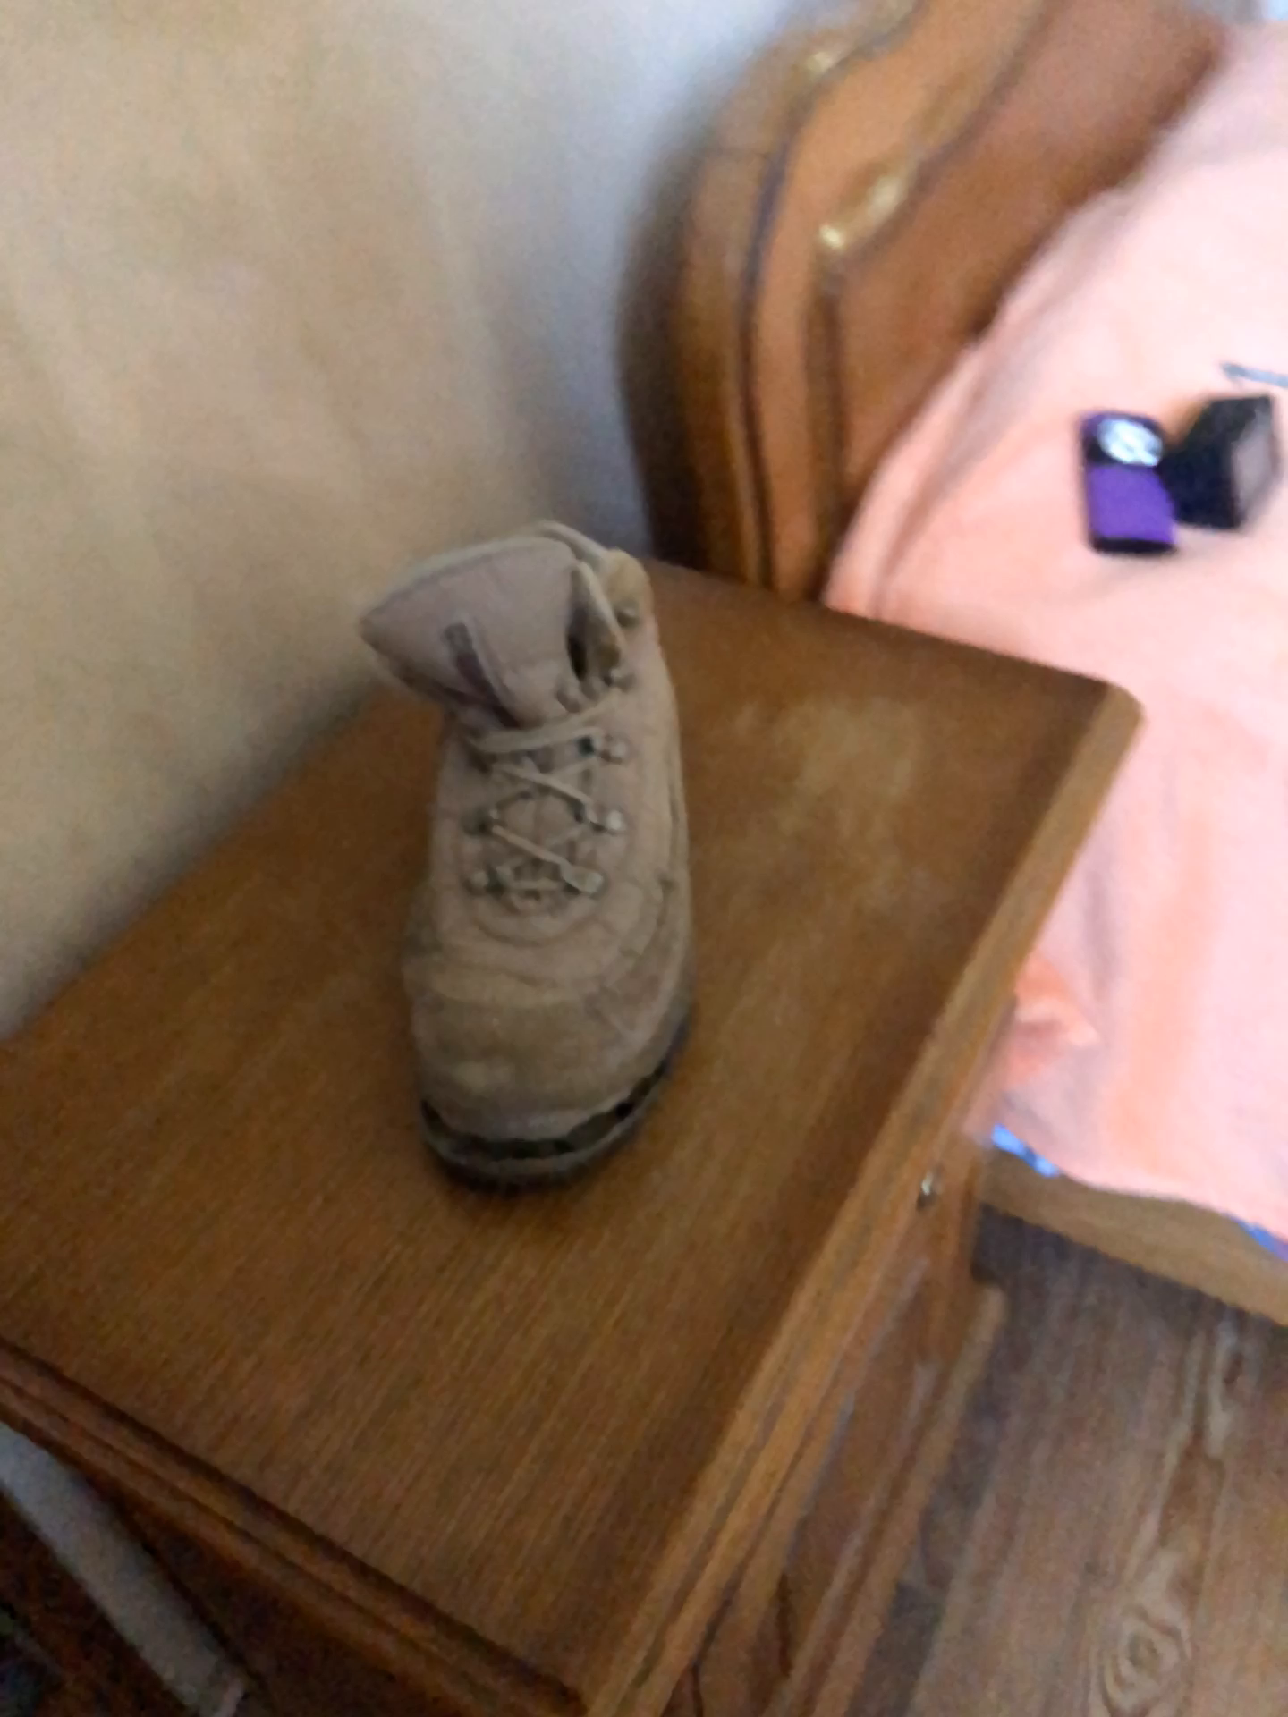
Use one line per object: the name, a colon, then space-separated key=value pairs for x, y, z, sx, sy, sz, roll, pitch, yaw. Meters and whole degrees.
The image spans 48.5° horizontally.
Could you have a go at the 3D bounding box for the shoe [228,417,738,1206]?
shoe: x=-0.035 y=-0.034 z=0.544 sx=0.130 sy=0.139 sz=0.292 roll=0 pitch=43 yaw=6
